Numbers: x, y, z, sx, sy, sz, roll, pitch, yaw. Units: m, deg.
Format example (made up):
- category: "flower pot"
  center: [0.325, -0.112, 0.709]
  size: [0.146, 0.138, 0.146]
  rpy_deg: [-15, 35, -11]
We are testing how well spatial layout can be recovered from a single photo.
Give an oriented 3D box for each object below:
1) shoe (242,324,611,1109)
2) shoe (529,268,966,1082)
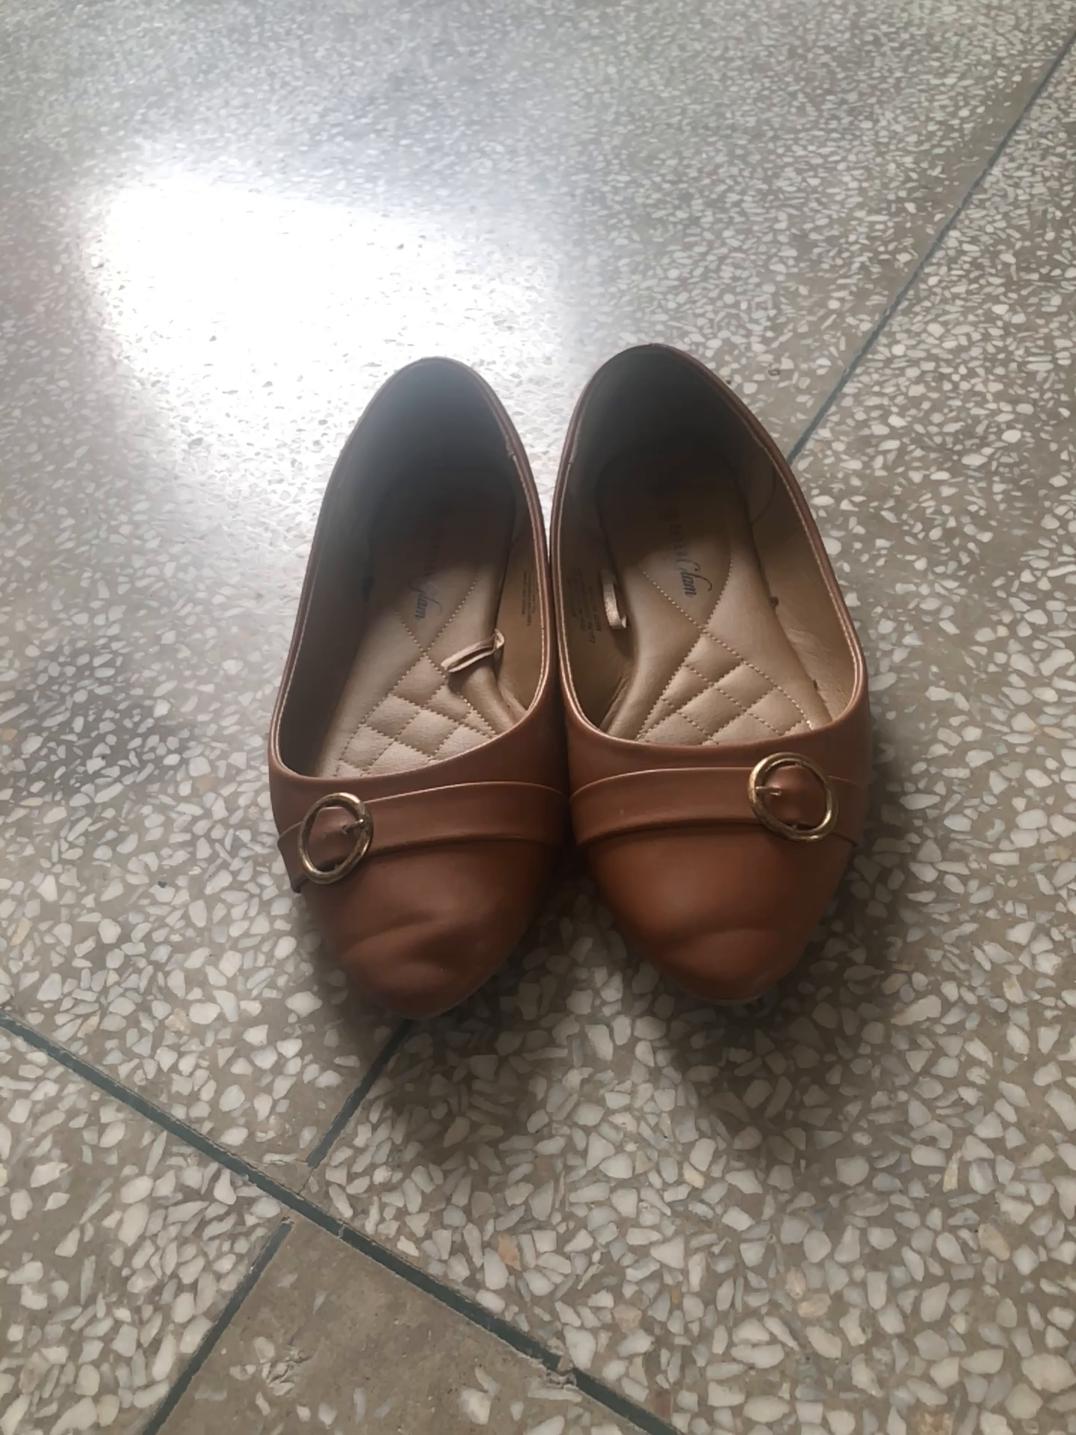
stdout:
- category: "shoe"
  center: [-0.037, -0.011, 0.391]
  size: [0.090, 0.050, 0.251]
  rpy_deg: [-10, 60, 10]
- category: "shoe"
  center: [0.055, -0.024, 0.374]
  size: [0.090, 0.050, 0.251]
  rpy_deg: [-10, 60, 10]
